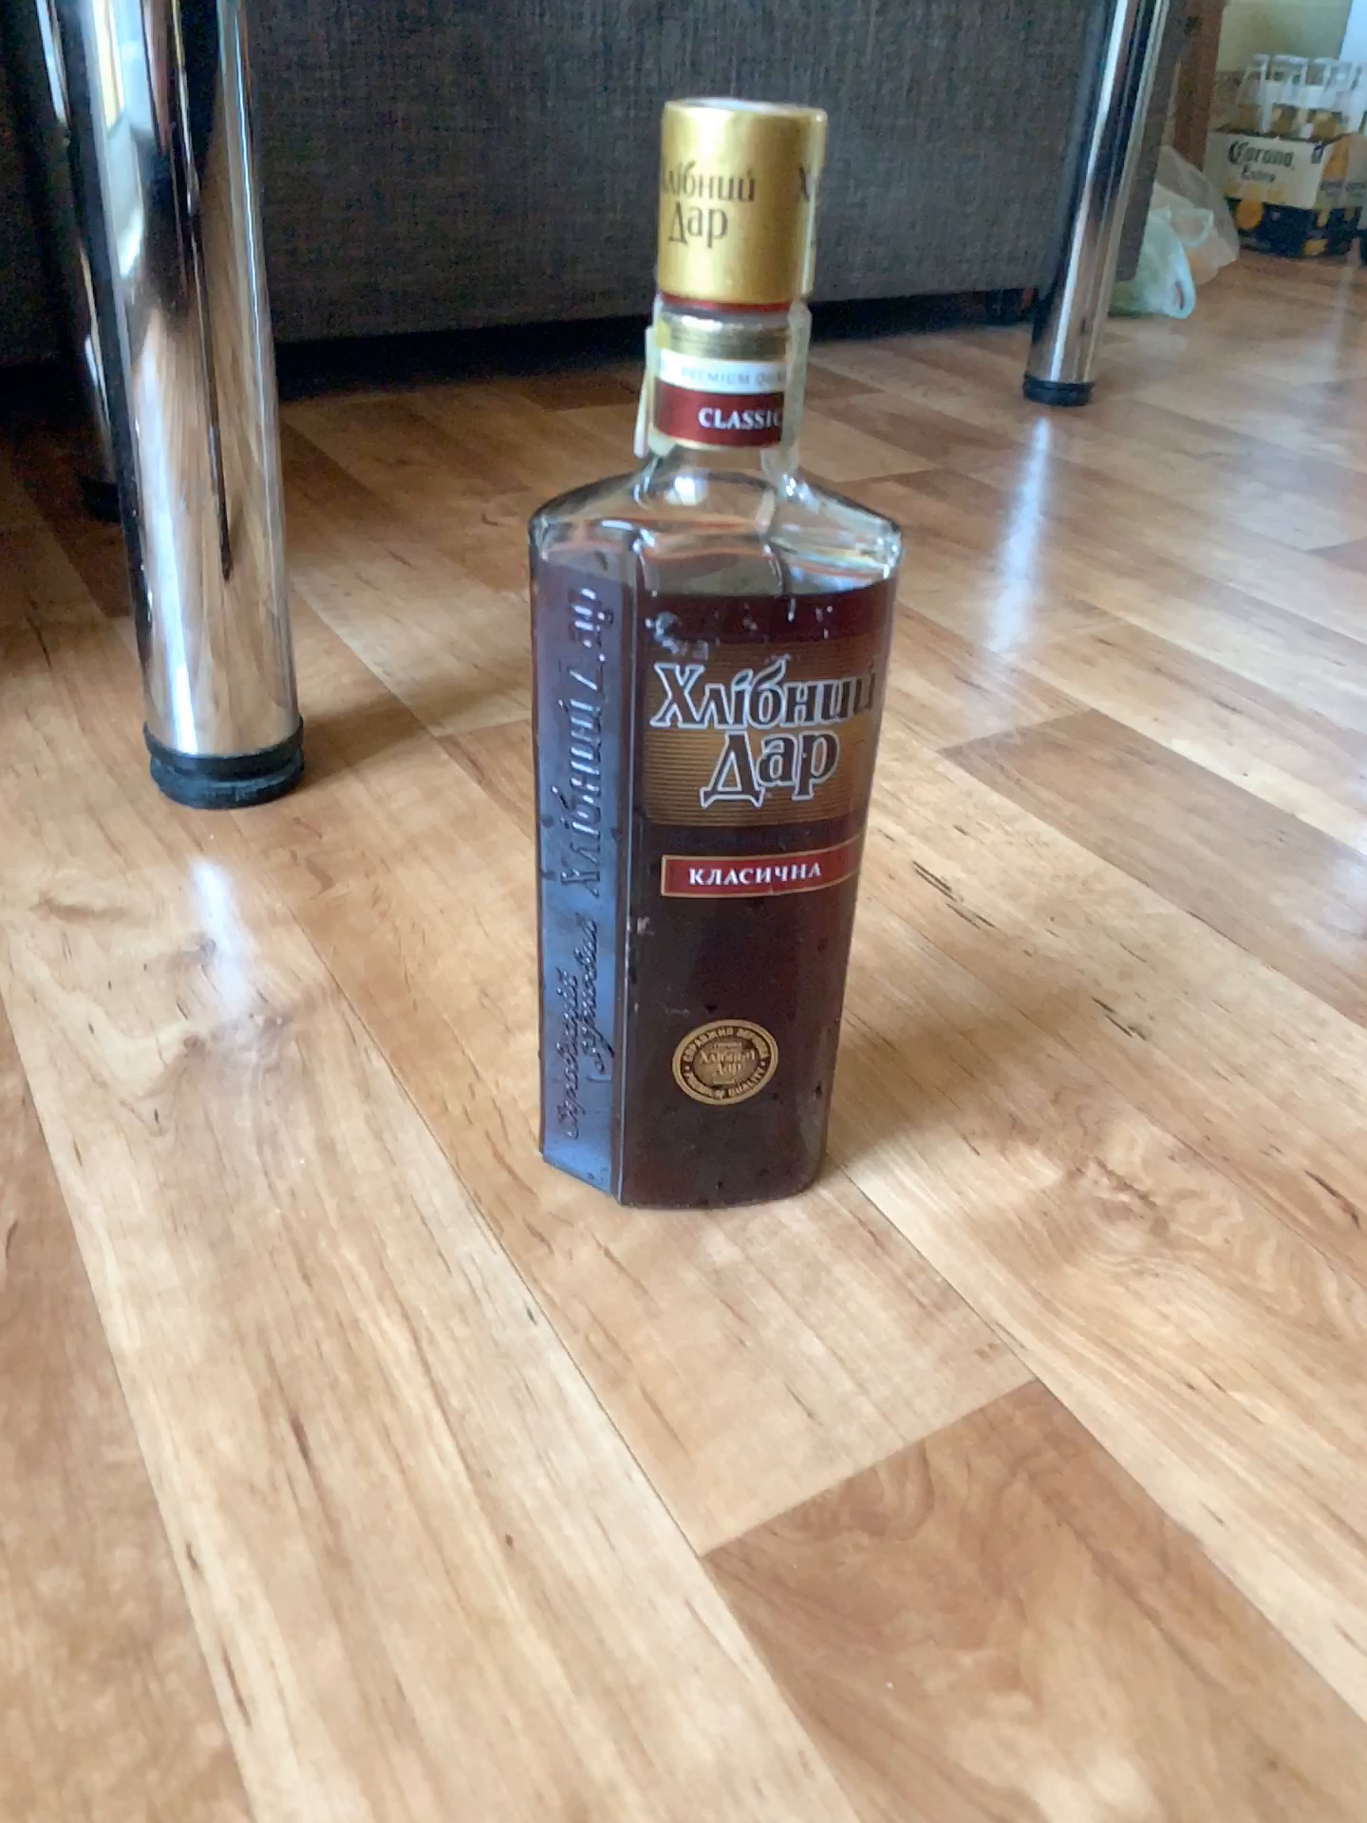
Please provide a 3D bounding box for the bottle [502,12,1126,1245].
[{"bbox_3d":[0.016,-0.040,0.288,0.090,0.239,0.050,6,33,5],"label":"bottle"}]
